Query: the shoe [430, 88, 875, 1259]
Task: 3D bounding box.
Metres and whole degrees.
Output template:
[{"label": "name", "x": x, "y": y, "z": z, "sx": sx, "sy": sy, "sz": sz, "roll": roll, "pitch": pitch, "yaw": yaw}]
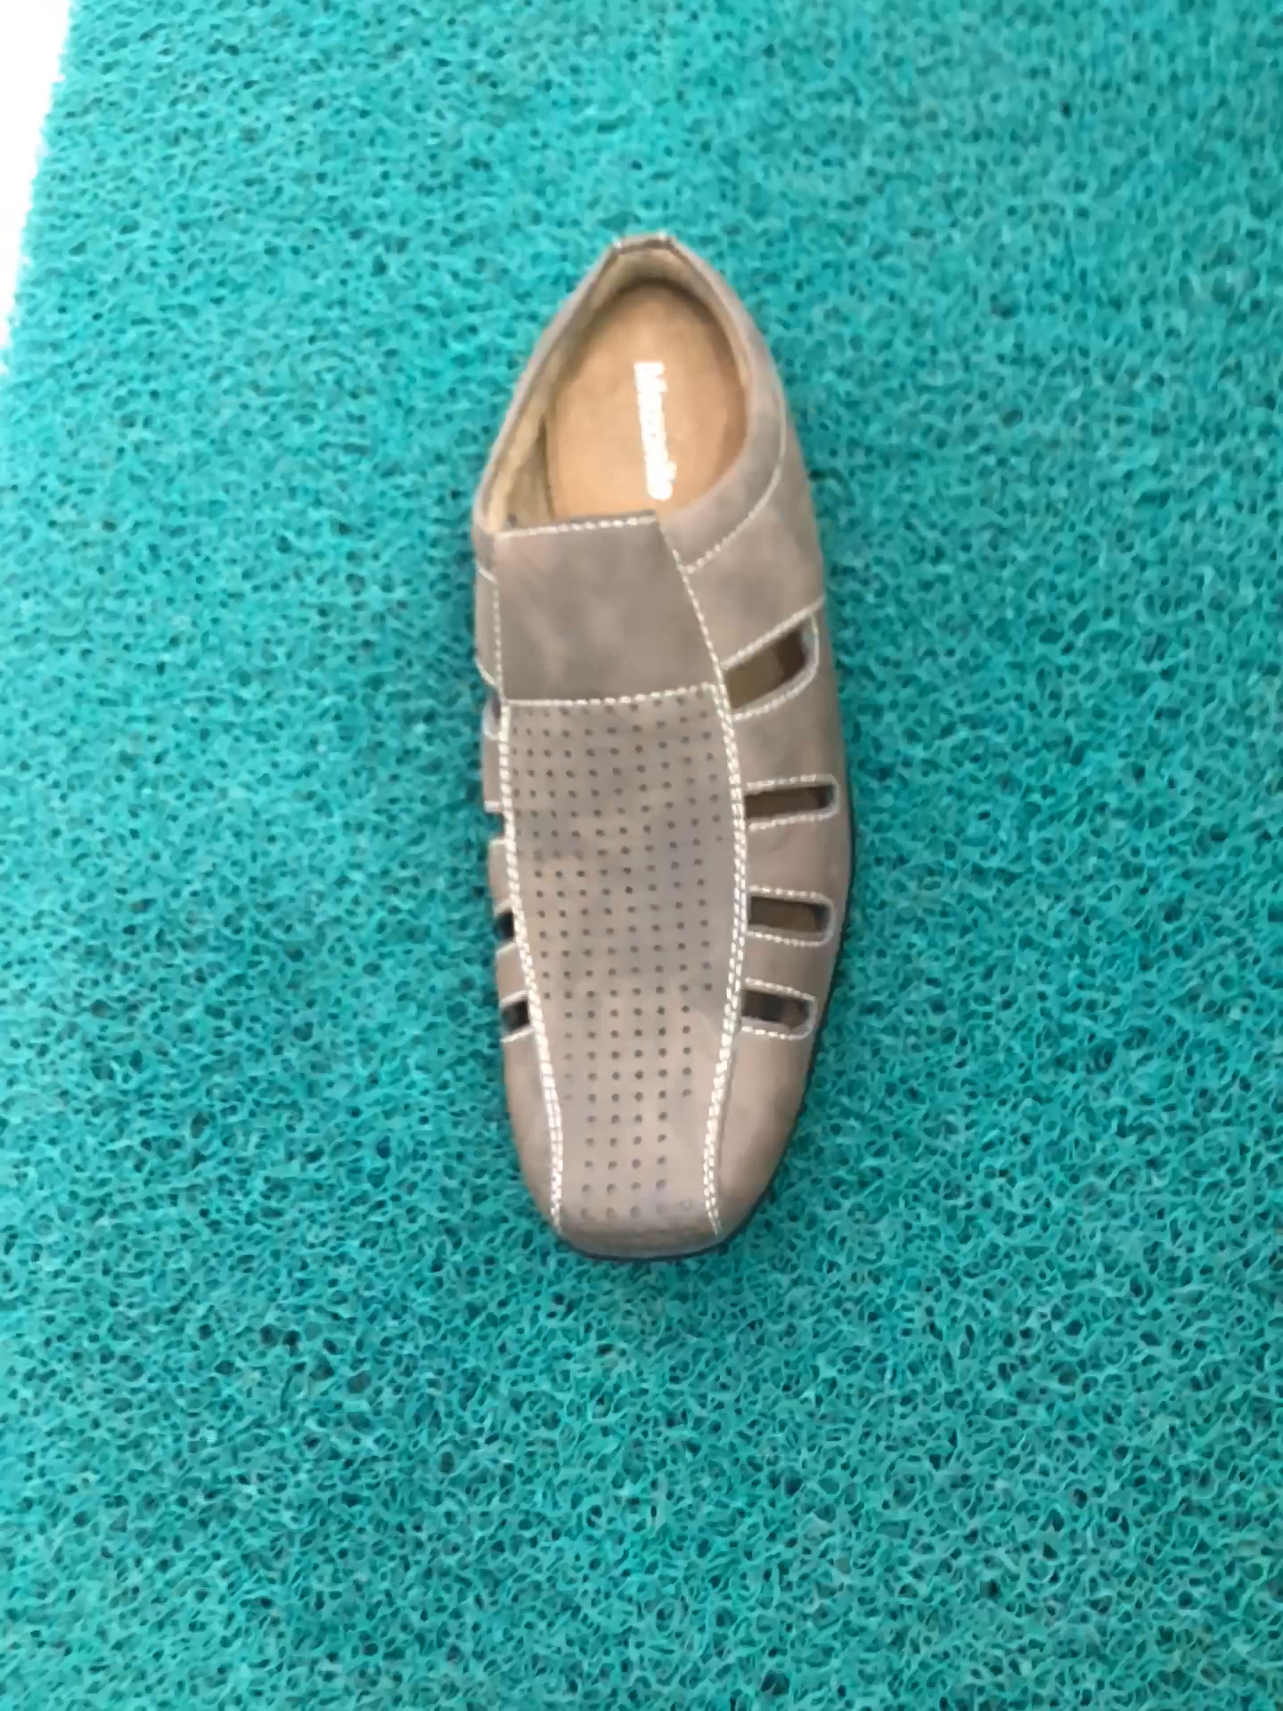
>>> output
[{"label": "shoe", "x": 0.001, "y": -0.047, "z": 0.374, "sx": 0.090, "sy": 0.070, "sz": 0.290, "roll": -6, "pitch": 73, "yaw": 12}]
